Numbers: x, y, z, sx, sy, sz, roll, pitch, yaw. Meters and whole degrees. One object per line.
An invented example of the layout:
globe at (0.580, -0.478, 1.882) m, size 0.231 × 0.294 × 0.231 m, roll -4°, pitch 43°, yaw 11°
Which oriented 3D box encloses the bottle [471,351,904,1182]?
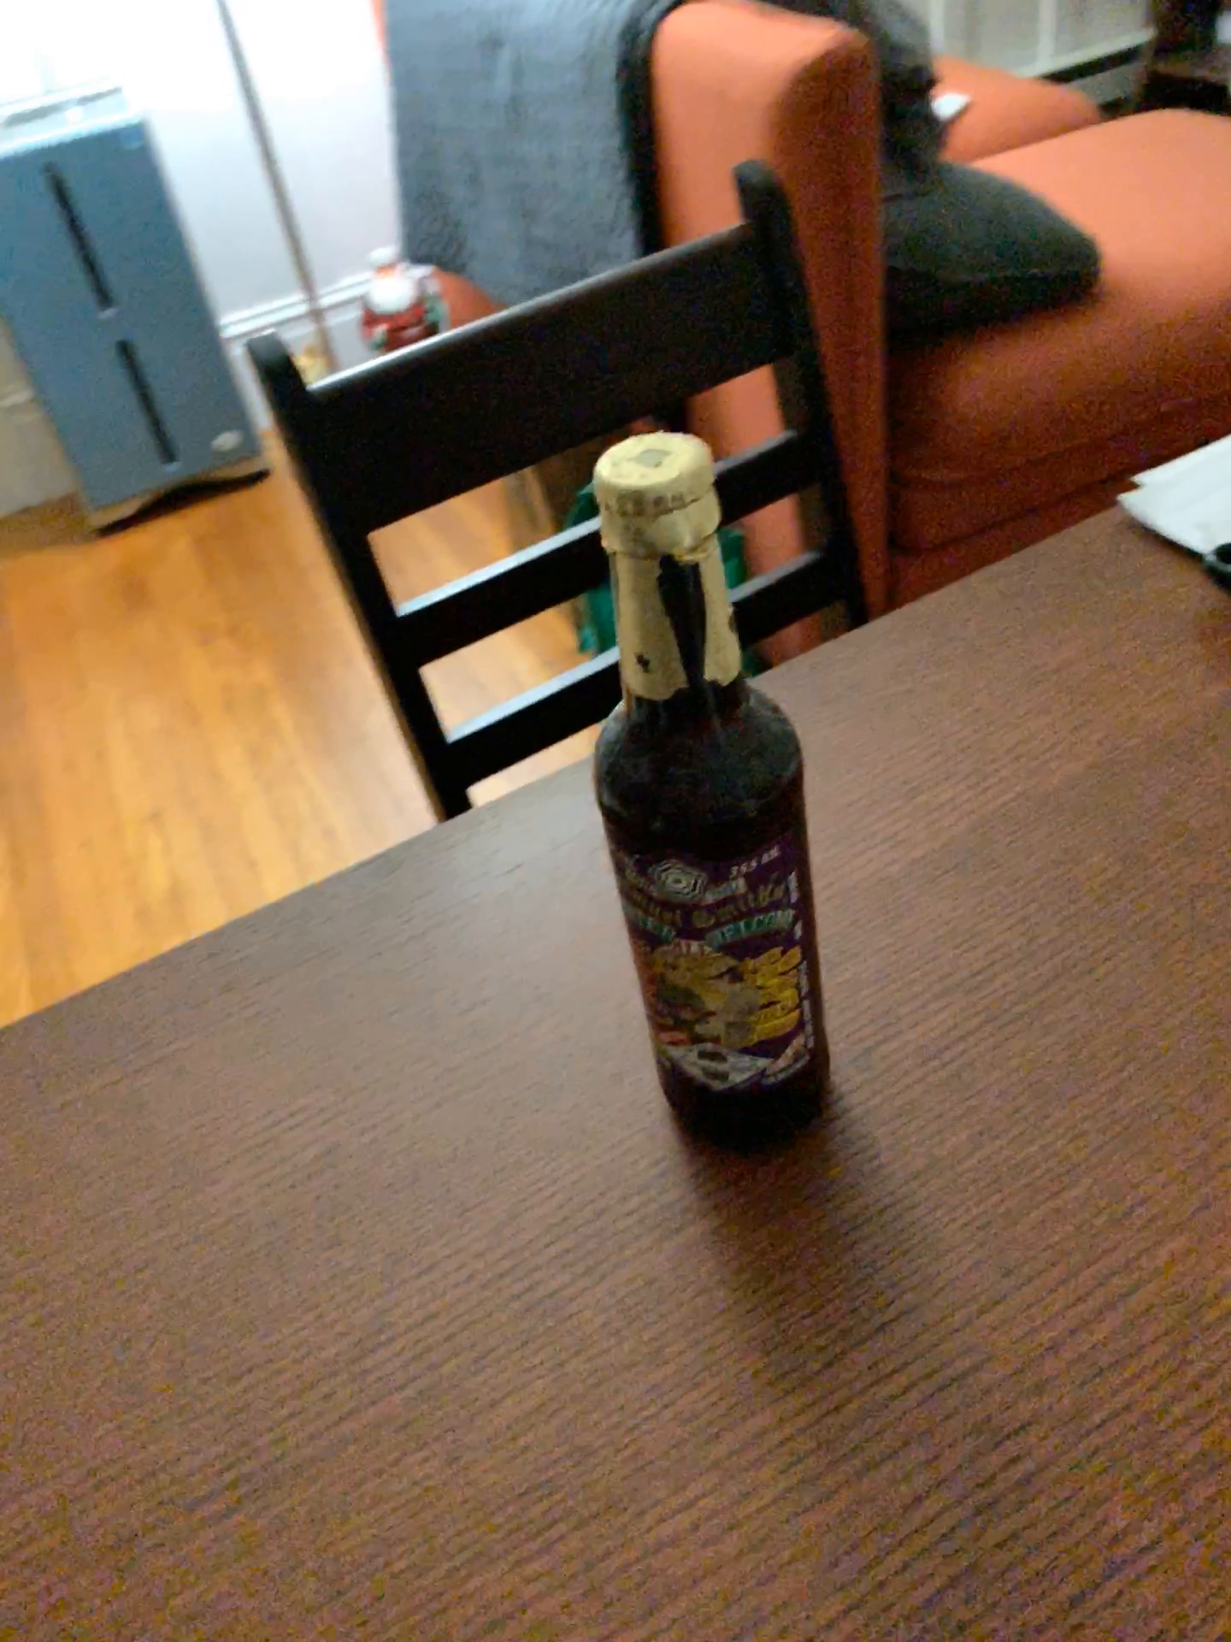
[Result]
bottle at (0.033, -0.003, 0.362) m, size 0.070 × 0.229 × 0.070 m, roll -6°, pitch 42°, yaw 6°
